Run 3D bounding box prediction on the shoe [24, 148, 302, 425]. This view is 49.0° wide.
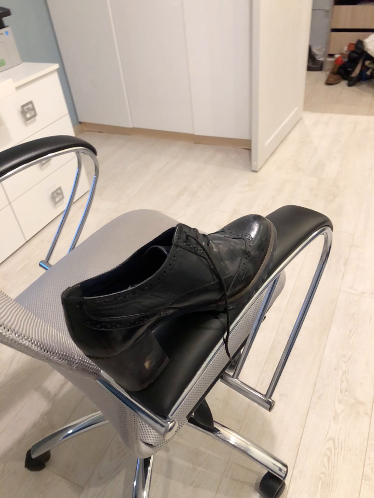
[{"bbox_3d":[-0.005,0.024,0.411,0.251,0.119,0.100,-39,47,-22],"label":"shoe"}]
